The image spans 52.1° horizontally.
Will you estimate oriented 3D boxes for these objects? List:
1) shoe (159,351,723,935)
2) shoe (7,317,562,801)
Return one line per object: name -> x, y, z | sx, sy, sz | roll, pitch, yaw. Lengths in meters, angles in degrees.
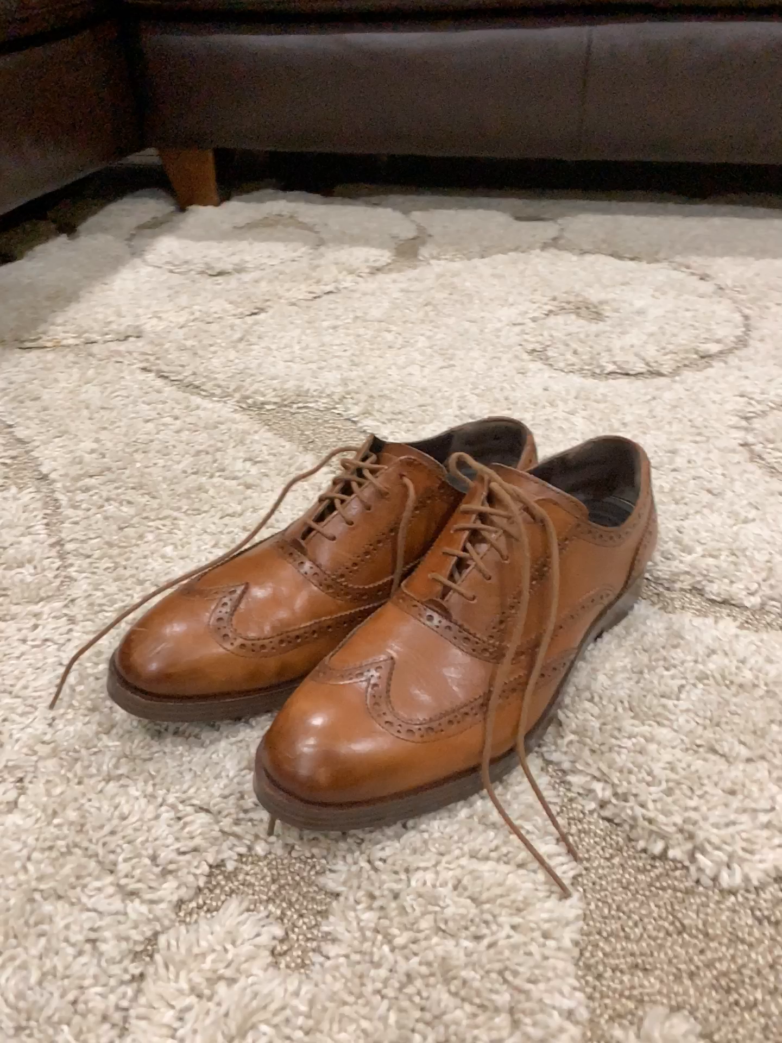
shoe -> 0.044, 0.035, 0.406 | 0.105, 0.131, 0.281 | 27, 45, 34
shoe -> -0.038, 0.000, 0.456 | 0.283, 0.131, 0.105 | -30, 44, -33
